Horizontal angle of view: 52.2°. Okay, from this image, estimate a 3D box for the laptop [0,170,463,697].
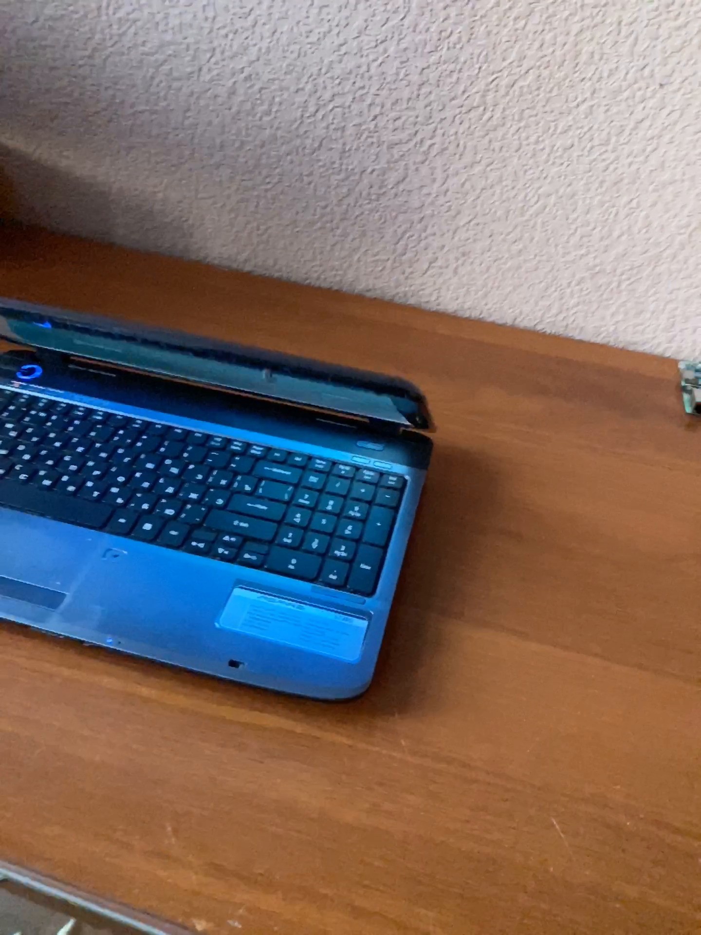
[{"bbox_3d":[-0.144,-0.046,0.475,0.380,0.163,0.241,12,44,10],"label":"laptop"}]
